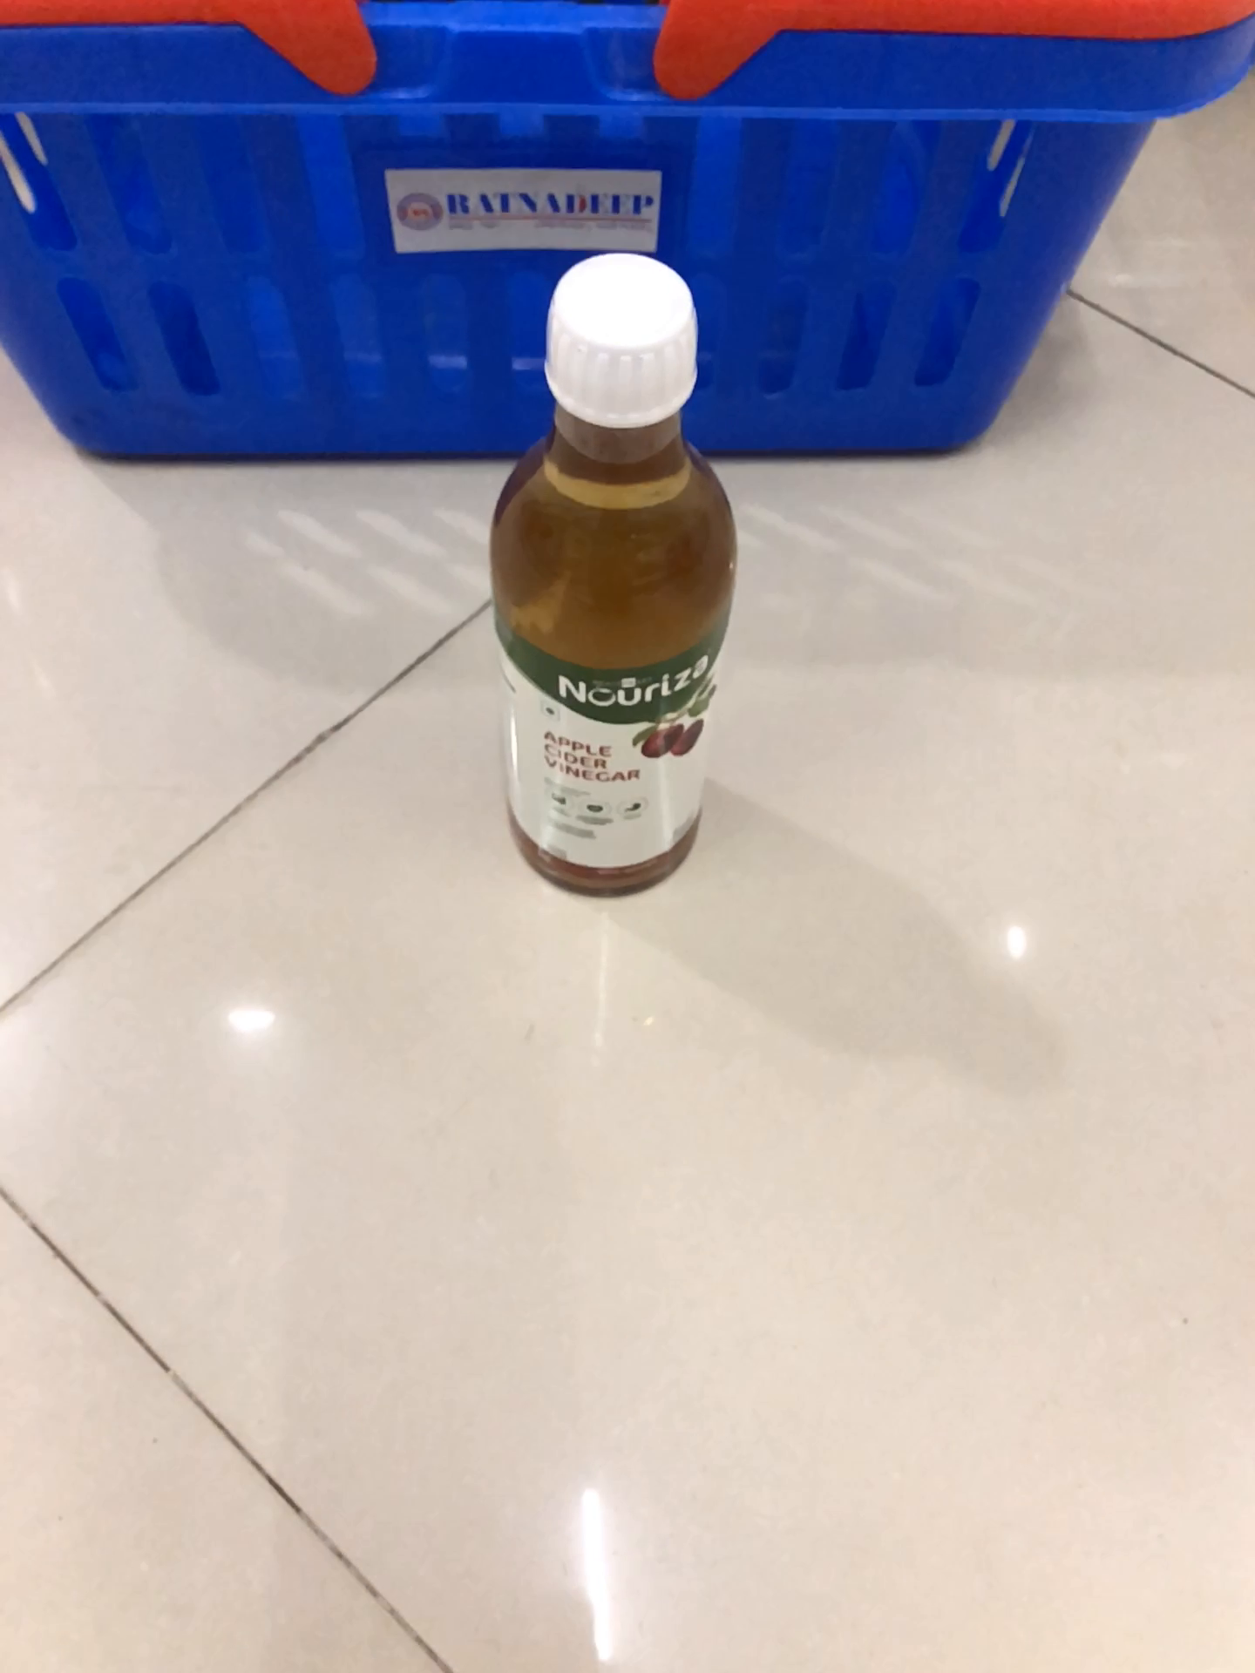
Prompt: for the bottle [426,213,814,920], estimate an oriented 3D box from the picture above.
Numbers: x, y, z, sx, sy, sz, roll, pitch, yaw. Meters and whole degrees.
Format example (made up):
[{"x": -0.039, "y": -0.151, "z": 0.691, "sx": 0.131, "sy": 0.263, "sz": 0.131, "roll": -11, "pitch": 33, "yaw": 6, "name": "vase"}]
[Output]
[{"x": -0.007, "y": -0.059, "z": 0.401, "sx": 0.080, "sy": 0.219, "sz": 0.070, "roll": -3, "pitch": 60, "yaw": -4, "name": "bottle"}]
